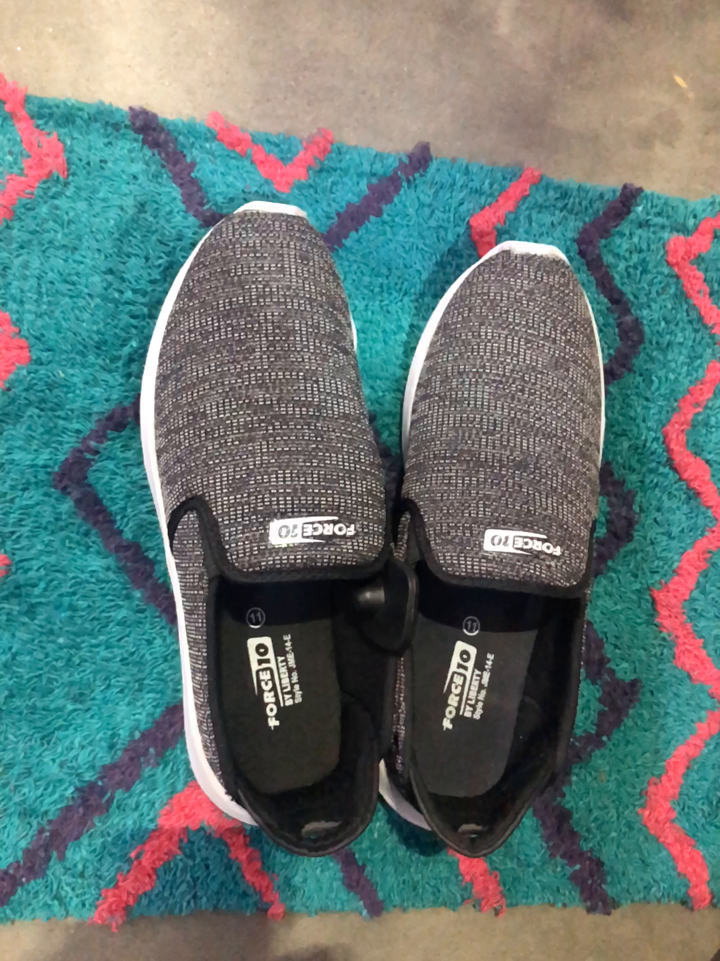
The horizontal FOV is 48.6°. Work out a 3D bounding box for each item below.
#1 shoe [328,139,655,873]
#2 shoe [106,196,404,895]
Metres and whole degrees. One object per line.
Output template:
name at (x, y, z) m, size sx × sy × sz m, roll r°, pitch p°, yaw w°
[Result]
shoe at (0.064, 0.012, 0.420) m, size 0.110 × 0.100 × 0.330 m, roll 8°, pitch 85°, yaw -9°
shoe at (-0.055, 0.024, 0.403) m, size 0.110 × 0.100 × 0.300 m, roll -4°, pitch 87°, yaw -10°
